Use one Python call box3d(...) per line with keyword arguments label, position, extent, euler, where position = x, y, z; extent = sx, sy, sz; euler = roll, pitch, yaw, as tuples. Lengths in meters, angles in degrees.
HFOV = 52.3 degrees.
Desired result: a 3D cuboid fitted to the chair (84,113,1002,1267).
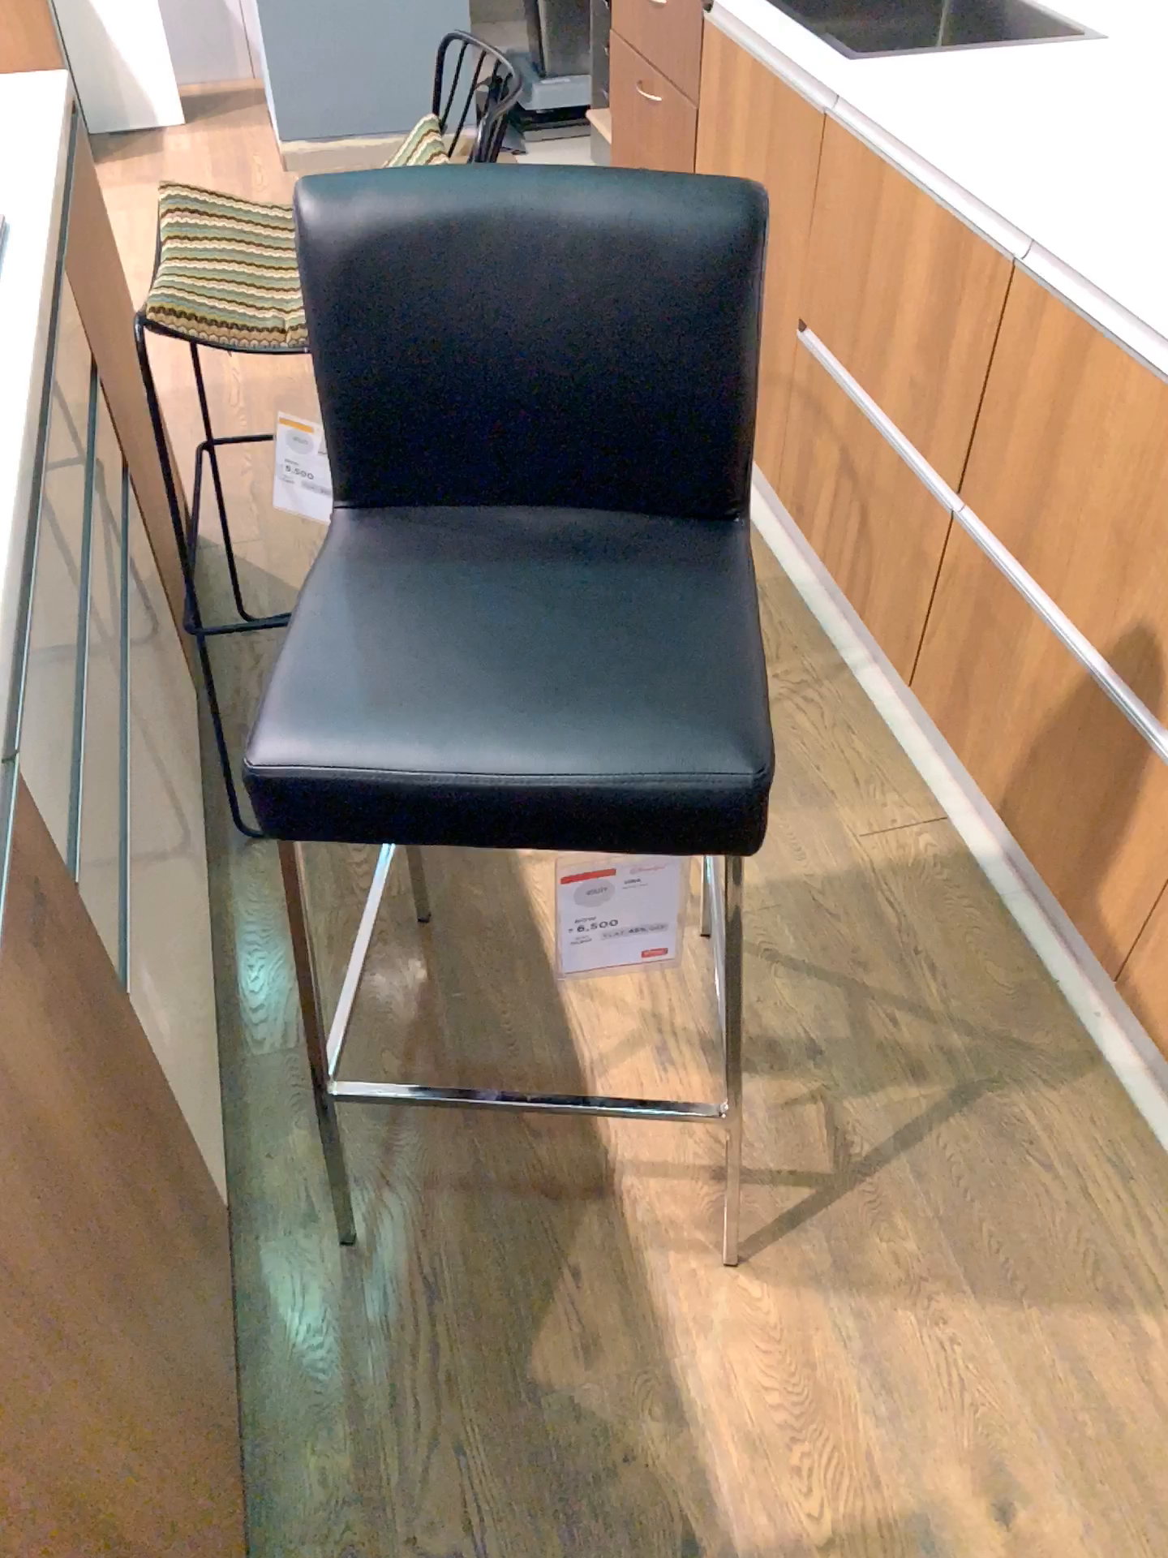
box3d(label="chair", position=(0.002, -0.009, 1.189), extent=(0.500, 1.026, 0.522), euler=(5, 46, 5))
